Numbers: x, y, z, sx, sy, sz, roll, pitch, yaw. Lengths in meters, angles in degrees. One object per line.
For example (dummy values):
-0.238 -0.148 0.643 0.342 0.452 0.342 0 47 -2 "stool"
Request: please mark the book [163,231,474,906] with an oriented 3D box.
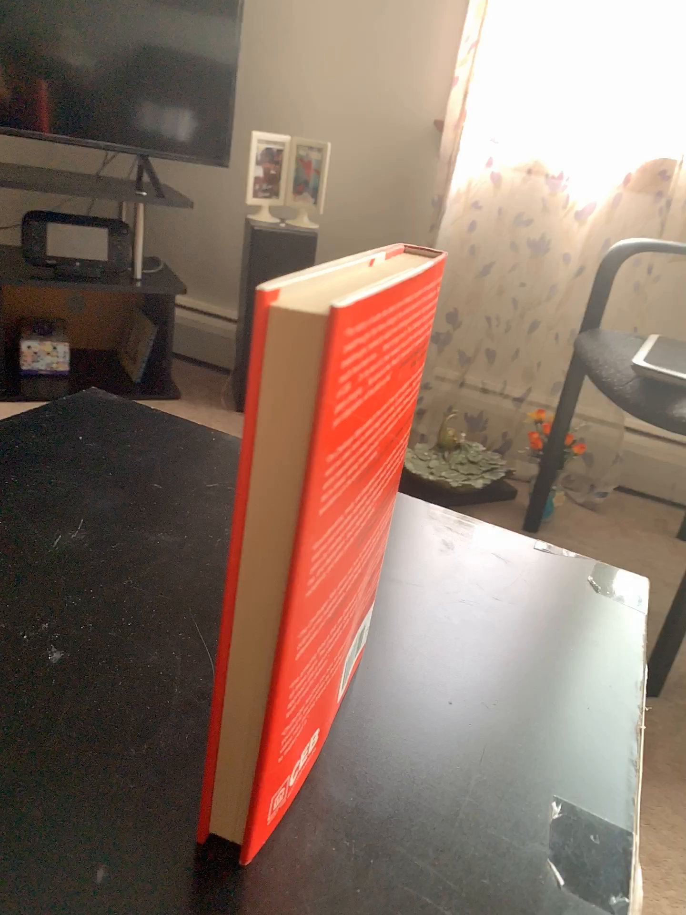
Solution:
-0.005 0.032 0.308 0.040 0.238 0.171 17 24 15 "book"
